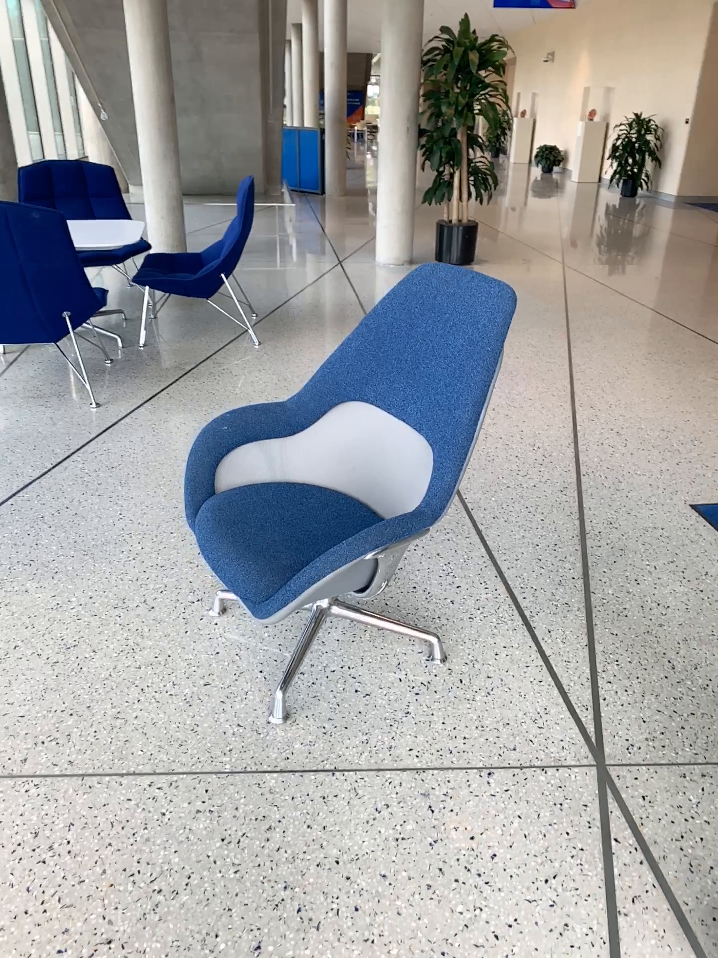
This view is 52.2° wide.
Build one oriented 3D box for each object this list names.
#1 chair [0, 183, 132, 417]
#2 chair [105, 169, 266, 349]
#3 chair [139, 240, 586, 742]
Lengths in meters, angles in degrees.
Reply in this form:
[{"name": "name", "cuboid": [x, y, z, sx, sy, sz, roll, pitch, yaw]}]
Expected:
[{"name": "chair", "cuboid": [-1.606, -0.871, 3.461, 0.804, 0.914, 0.780, -2, 26, -6]}, {"name": "chair", "cuboid": [-1.000, -1.376, 4.516, 0.774, 0.914, 0.901, -1, 26, -4]}, {"name": "chair", "cuboid": [-0.035, -0.057, 1.895, 0.785, 0.934, 0.729, -12, 29, -26]}]
